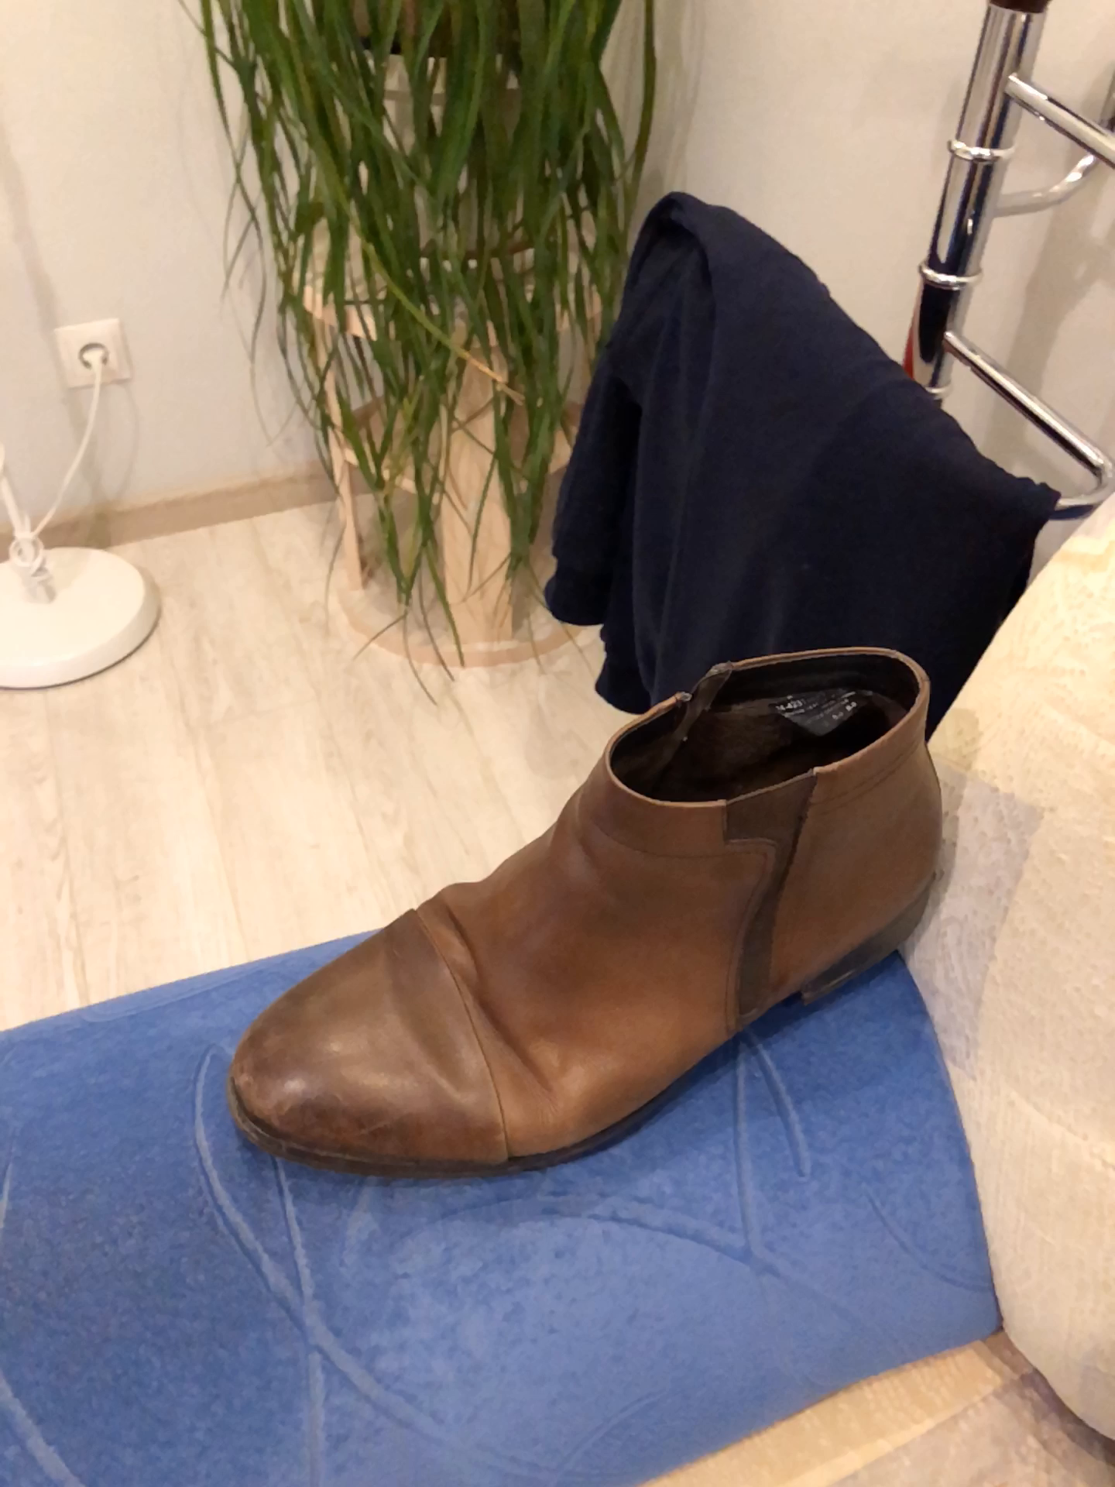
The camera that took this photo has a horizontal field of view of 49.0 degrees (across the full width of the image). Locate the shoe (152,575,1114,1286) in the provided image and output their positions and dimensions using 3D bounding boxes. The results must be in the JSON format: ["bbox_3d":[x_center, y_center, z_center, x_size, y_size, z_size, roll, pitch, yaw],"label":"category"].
[{"bbox_3d":[0.032,0.058,0.450,0.311,0.139,0.111,-15,45,-17],"label":"shoe"}]
